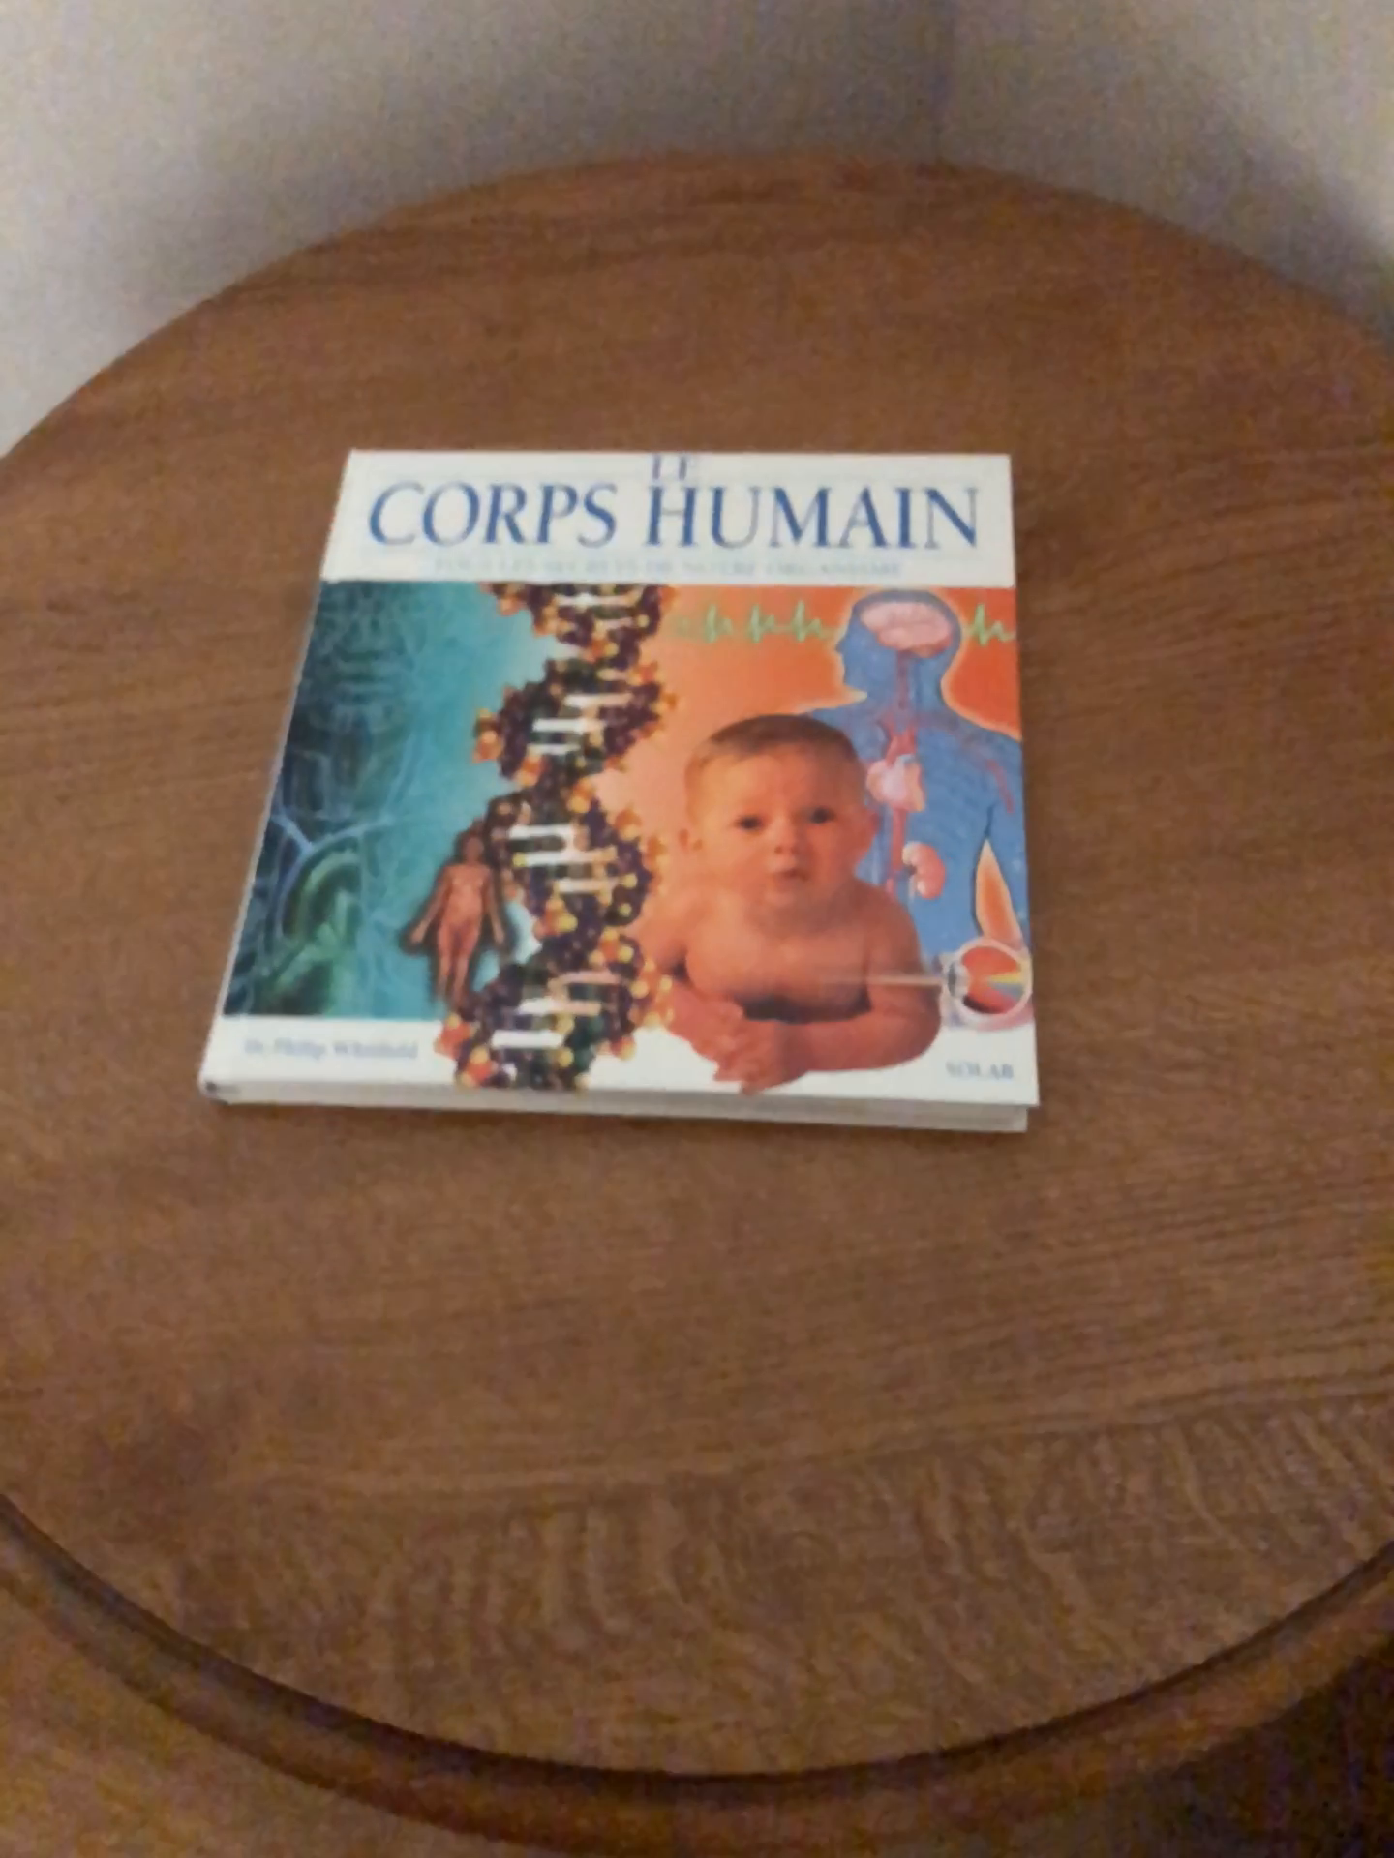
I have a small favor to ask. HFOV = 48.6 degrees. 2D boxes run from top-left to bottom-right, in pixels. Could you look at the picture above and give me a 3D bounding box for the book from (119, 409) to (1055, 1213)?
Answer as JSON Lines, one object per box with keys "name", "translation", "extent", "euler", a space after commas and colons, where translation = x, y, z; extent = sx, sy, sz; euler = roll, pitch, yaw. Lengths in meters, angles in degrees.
{"name": "book", "translation": [-0.022, -0.057, 0.527], "extent": [0.270, 0.040, 0.291], "euler": [3, 61, 5]}
